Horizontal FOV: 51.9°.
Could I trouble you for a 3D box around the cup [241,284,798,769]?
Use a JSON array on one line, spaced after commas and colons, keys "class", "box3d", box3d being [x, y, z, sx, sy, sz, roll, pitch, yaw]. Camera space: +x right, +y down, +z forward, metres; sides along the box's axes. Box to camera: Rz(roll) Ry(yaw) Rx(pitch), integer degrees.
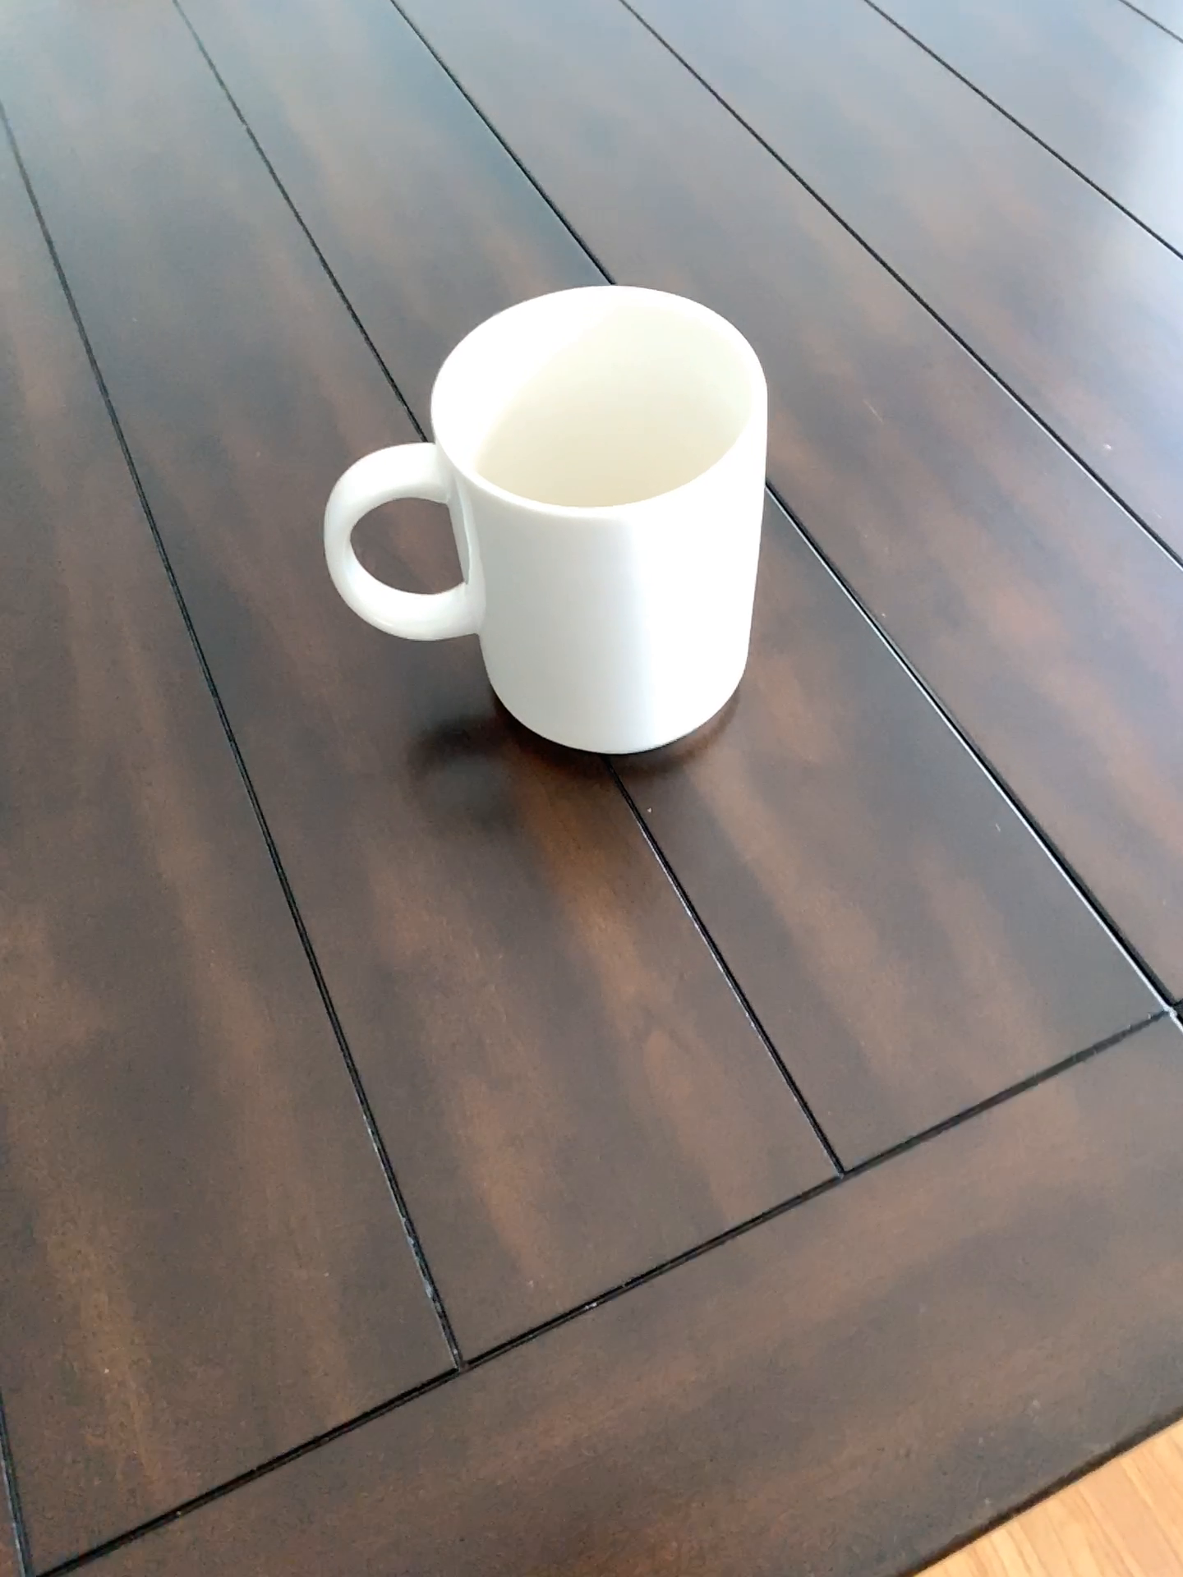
[{"class": "cup", "box3d": [-0.014, -0.070, 0.350, 0.130, 0.110, 0.080, 0, 57, 4]}]
